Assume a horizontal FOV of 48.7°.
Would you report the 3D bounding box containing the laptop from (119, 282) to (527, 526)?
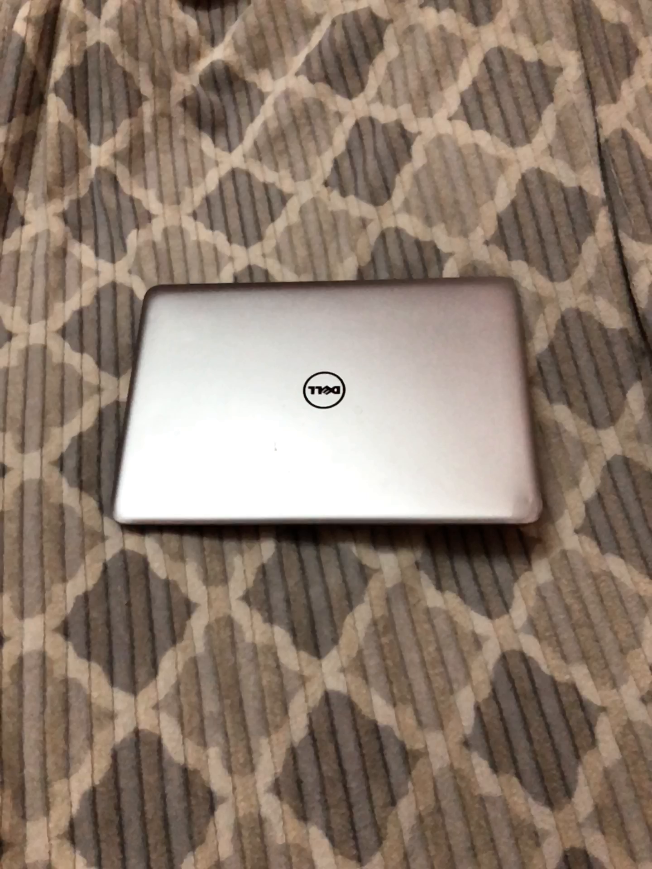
[{"bbox_3d":[-0.004,-0.036,0.687,0.359,0.007,0.252,-1,65,4],"label":"laptop"}]
